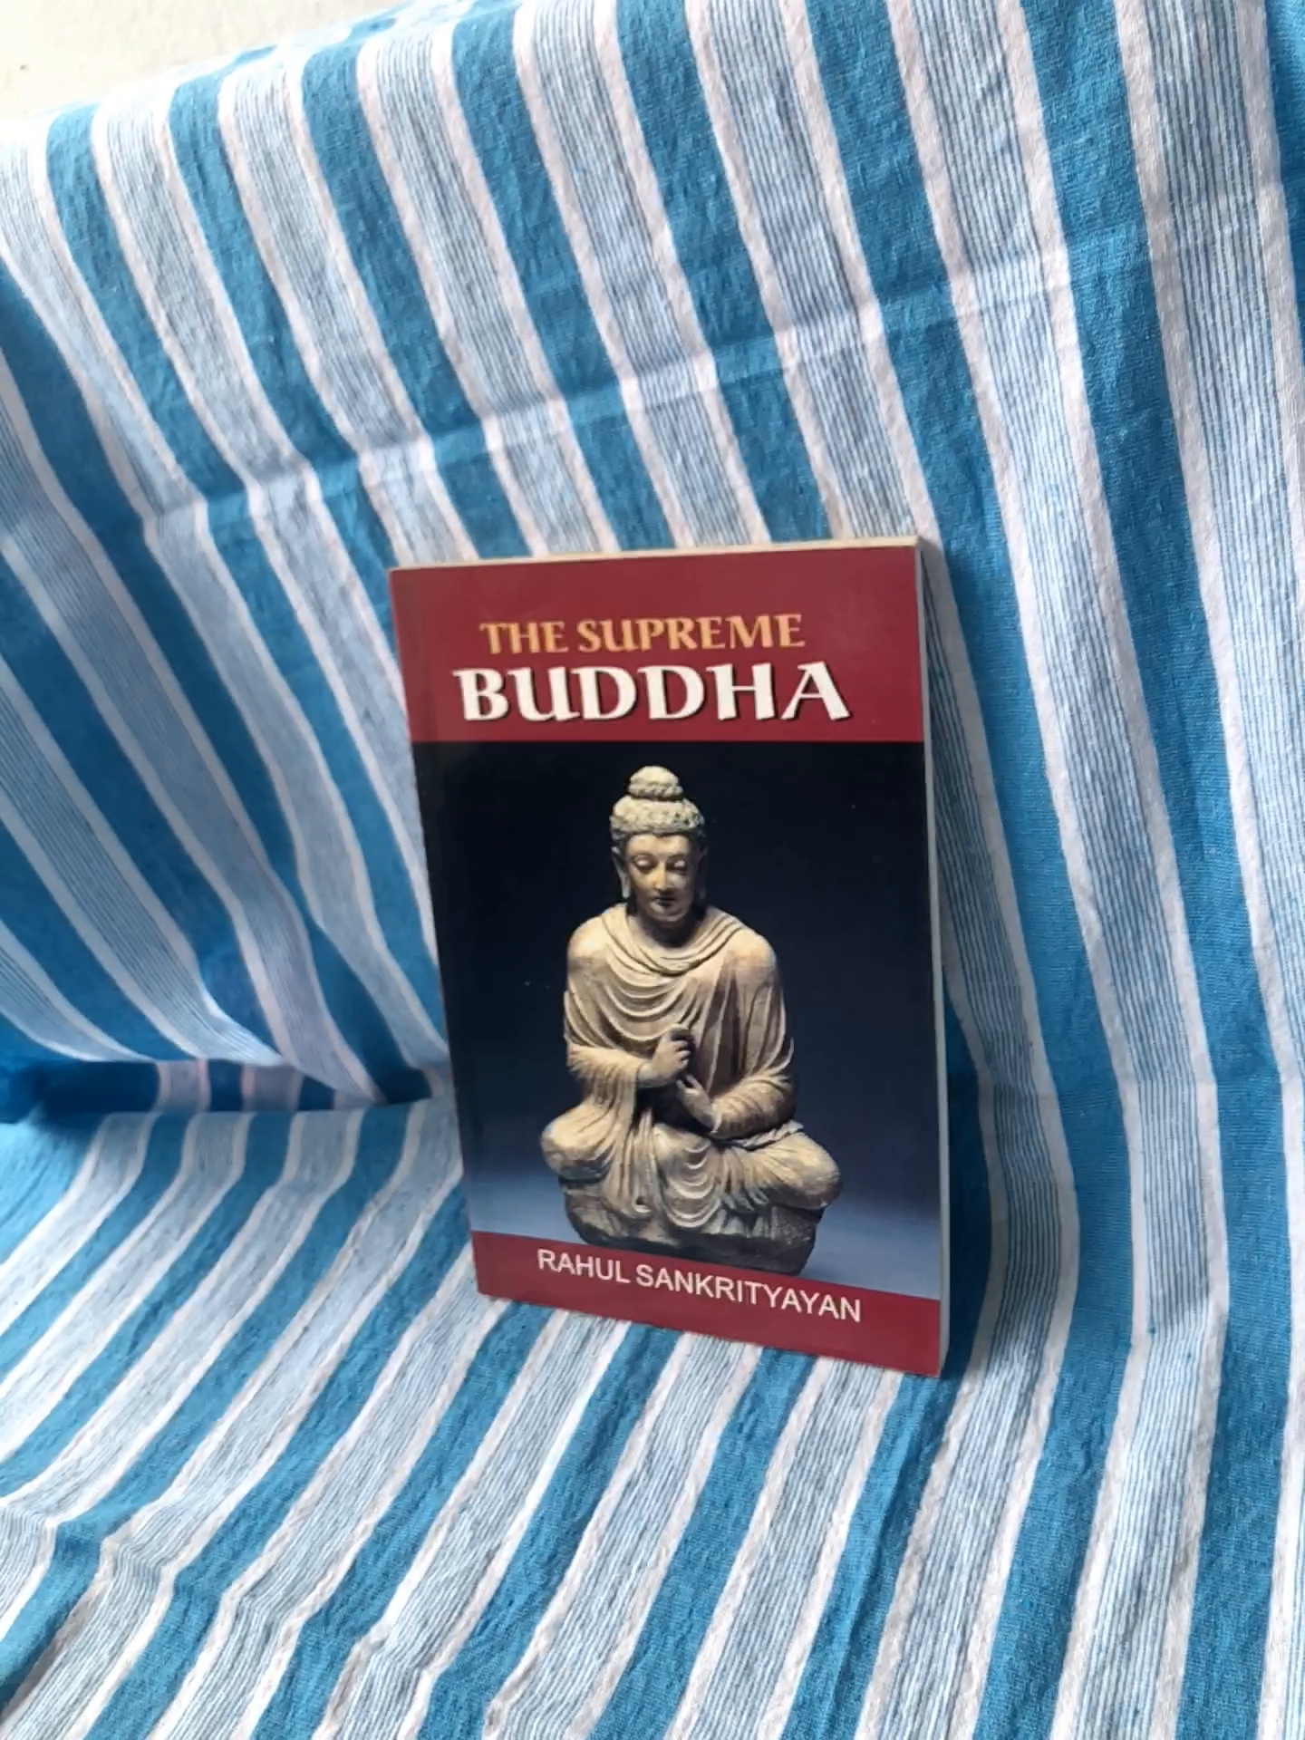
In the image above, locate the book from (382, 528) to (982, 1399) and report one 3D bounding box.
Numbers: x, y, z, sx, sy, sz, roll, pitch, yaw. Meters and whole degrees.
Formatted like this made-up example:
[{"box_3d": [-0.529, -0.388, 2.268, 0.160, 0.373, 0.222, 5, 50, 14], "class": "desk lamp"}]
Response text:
[{"box_3d": [0.009, 0.025, 0.388, 0.150, 0.219, 0.020, 3, 16, 24], "class": "book"}]
